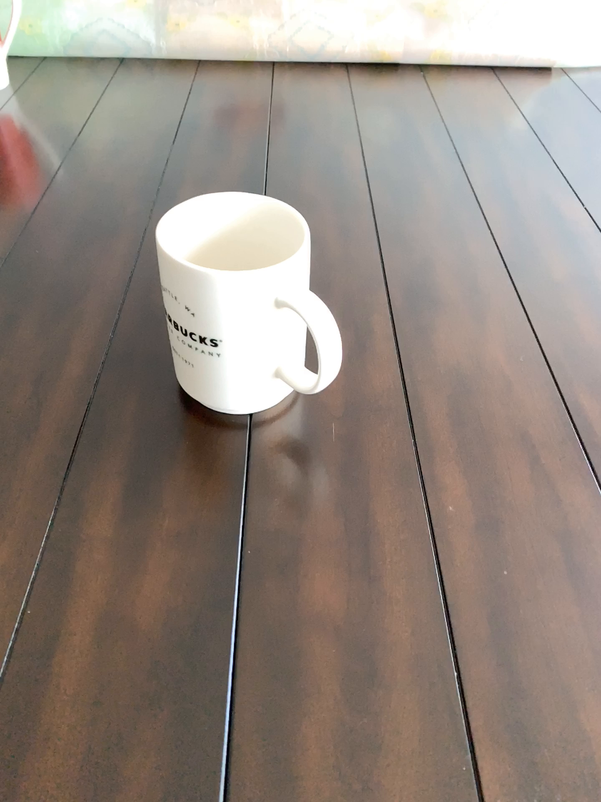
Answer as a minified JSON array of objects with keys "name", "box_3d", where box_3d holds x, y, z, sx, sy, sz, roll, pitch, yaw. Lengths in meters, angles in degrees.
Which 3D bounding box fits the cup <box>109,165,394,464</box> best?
[{"name":"cup","box_3d":[-0.030,-0.056,0.383,0.130,0.110,0.090,32,54,23]}]
